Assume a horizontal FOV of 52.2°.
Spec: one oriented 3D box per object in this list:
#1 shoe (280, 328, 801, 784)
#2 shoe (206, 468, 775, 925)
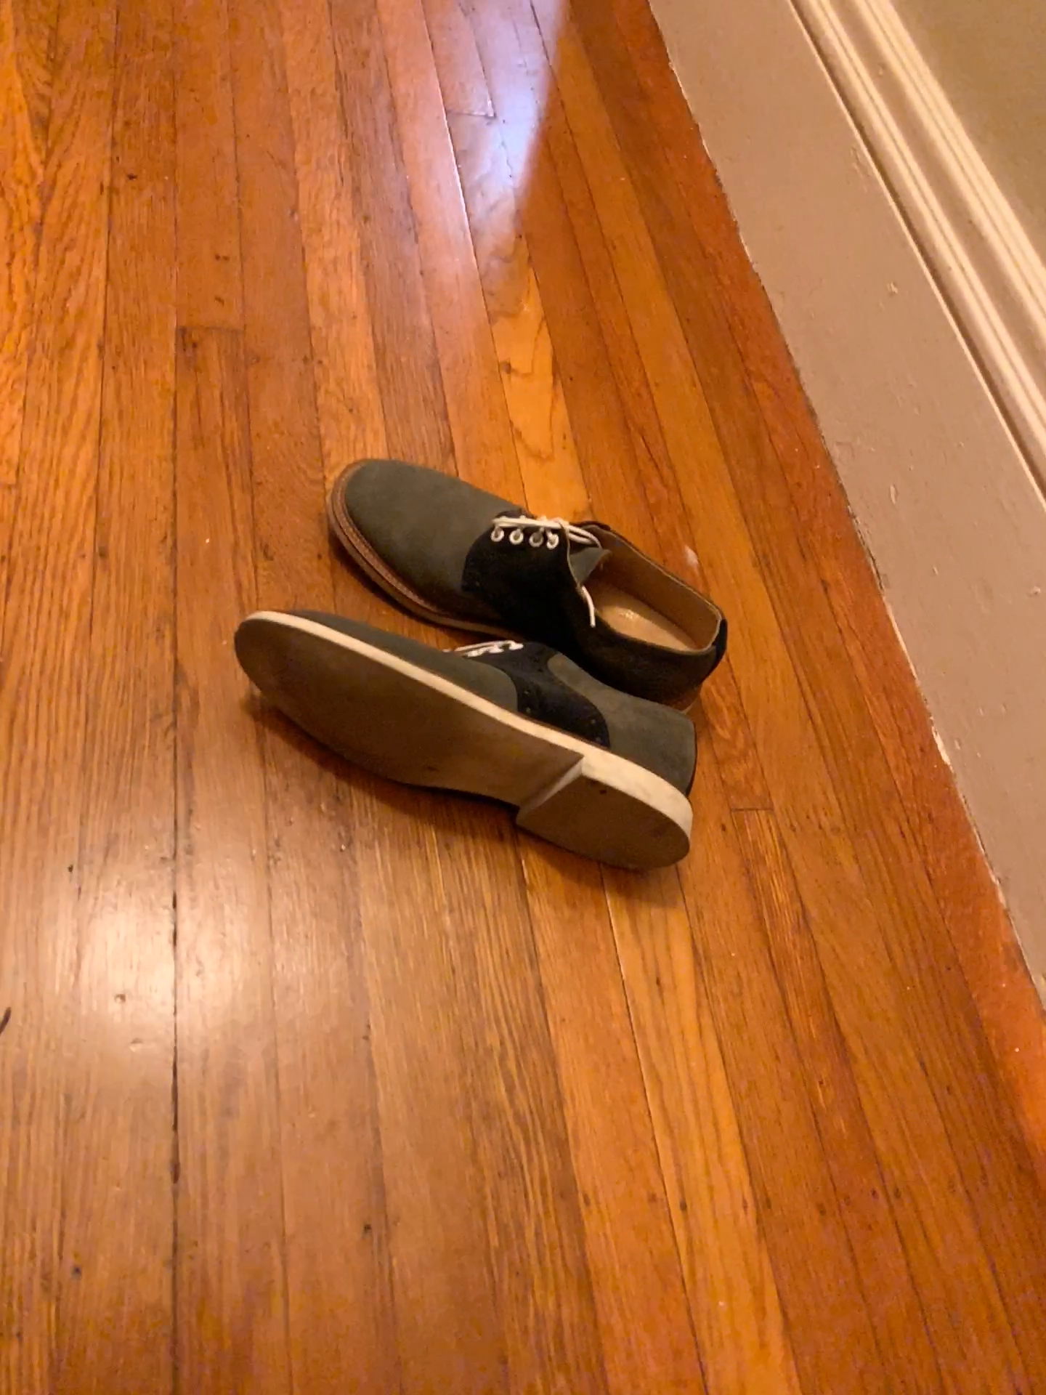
[{"bbox_3d":[0.007,-0.097,0.711,0.310,0.100,0.130,33,56,6],"label":"shoe"},{"bbox_3d":[-0.024,0.003,0.663,0.310,0.130,0.120,24,53,-1],"label":"shoe"}]
